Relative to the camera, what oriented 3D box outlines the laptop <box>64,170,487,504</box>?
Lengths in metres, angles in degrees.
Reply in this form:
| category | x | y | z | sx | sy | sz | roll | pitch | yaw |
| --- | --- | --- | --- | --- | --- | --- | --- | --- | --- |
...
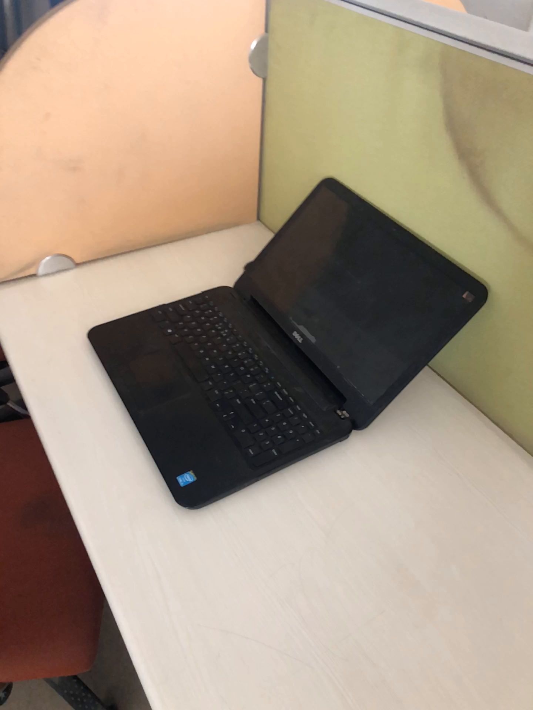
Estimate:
| category | x | y | z | sx | sy | sz | roll | pitch | yaw |
| --- | --- | --- | --- | --- | --- | --- | --- | --- | --- |
| laptop | -0.002 | -0.065 | 0.813 | 0.427 | 0.158 | 0.357 | -21 | 47 | -23 |
